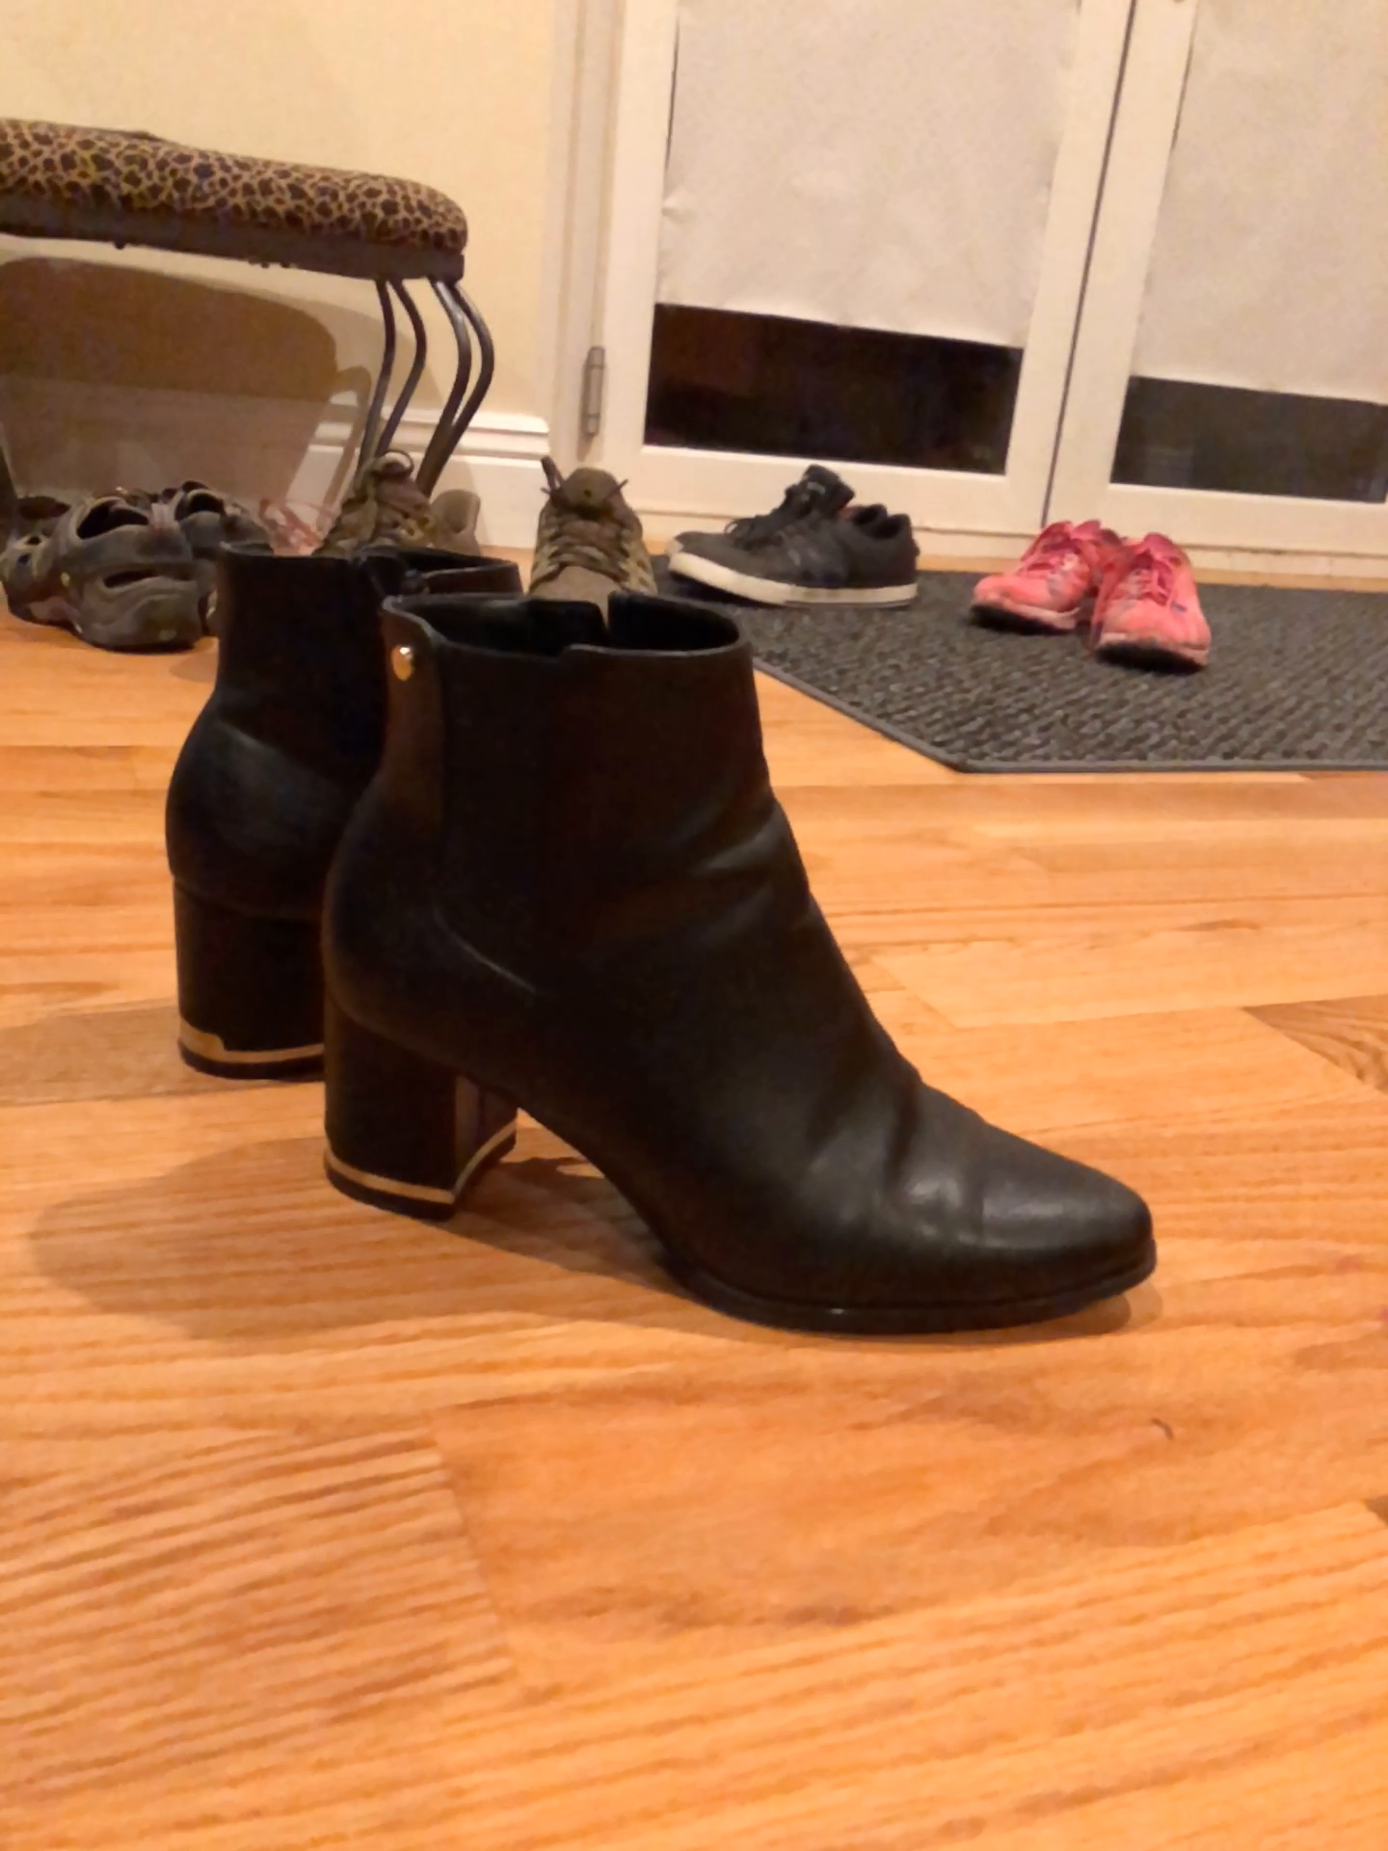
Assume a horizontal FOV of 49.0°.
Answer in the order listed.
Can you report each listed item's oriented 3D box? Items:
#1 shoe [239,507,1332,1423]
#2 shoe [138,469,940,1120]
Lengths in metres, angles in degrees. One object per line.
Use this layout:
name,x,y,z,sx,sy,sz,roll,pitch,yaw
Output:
shoe,0.014,-0.002,0.394,0.236,0.175,0.095,10,19,12
shoe,-0.054,-0.051,0.513,0.236,0.175,0.095,-5,22,-28
